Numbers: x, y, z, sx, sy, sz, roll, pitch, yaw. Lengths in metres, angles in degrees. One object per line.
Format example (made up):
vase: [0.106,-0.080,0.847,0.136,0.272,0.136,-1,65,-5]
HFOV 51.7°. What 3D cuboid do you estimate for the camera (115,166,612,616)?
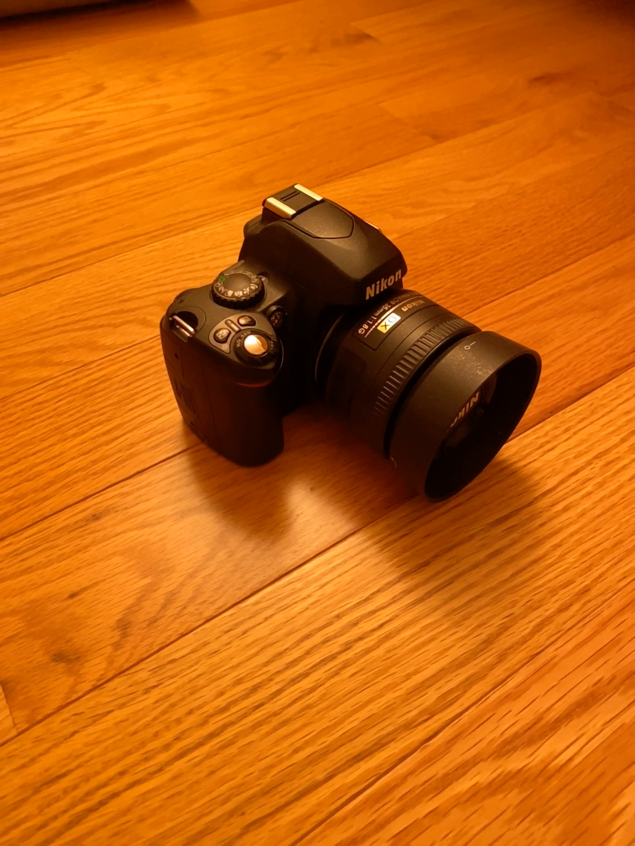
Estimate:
camera: [0.016,-0.025,0.283,0.130,0.080,0.140,-35,58,-26]
